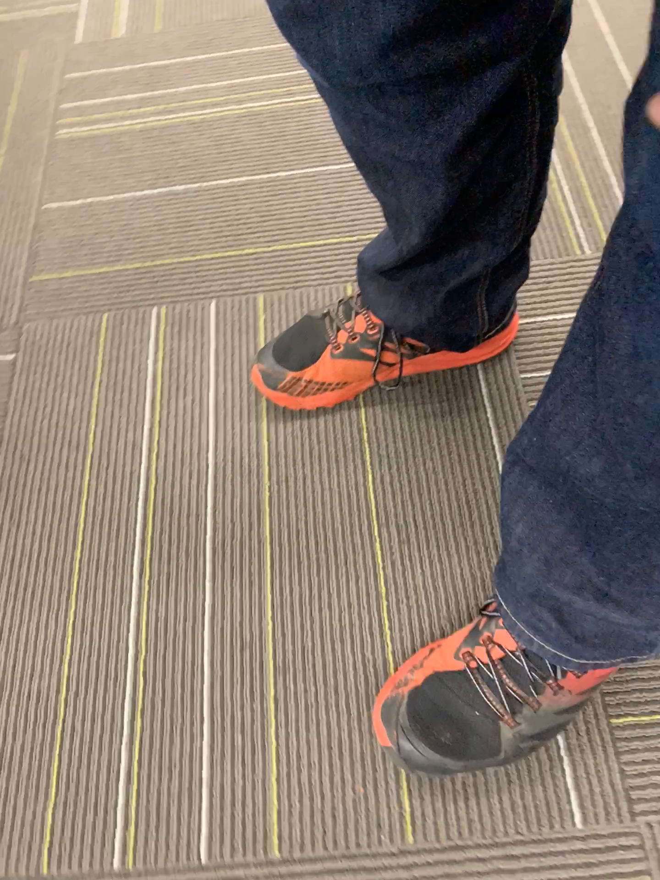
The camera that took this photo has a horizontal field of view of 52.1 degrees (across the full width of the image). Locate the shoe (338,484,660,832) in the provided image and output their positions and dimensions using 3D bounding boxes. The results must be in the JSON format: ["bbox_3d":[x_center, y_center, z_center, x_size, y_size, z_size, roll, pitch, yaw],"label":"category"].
[{"bbox_3d":[0.173,0.184,0.585,0.300,0.100,0.130,-30,63,-9],"label":"shoe"}]

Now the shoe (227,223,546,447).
[{"bbox_3d":[0.062,-0.118,0.779,0.320,0.120,0.120,-18,62,-3],"label":"shoe"}]
